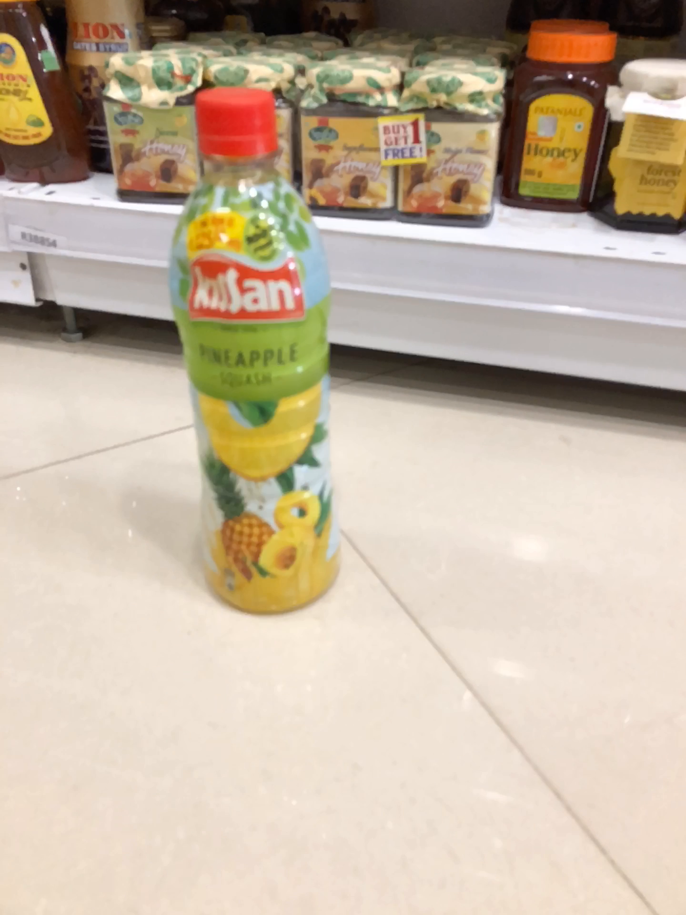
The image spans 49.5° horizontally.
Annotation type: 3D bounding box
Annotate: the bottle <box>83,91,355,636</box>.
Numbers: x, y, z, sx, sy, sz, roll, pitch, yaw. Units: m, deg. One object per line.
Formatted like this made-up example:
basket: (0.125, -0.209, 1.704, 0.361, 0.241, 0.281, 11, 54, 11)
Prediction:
bottle: (-0.040, -0.032, 0.336, 0.080, 0.228, 0.081, 0, 35, 0)
